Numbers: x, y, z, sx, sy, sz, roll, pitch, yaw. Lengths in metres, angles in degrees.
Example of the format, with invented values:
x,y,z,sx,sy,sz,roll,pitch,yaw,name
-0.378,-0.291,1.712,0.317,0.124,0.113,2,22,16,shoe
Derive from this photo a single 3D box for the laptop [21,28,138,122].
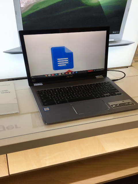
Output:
x,y,z,sx,sy,sz,roll,pitch,yaw,name
0.040,-0.075,0.609,0.322,0.203,0.268,-10,40,-15,laptop
